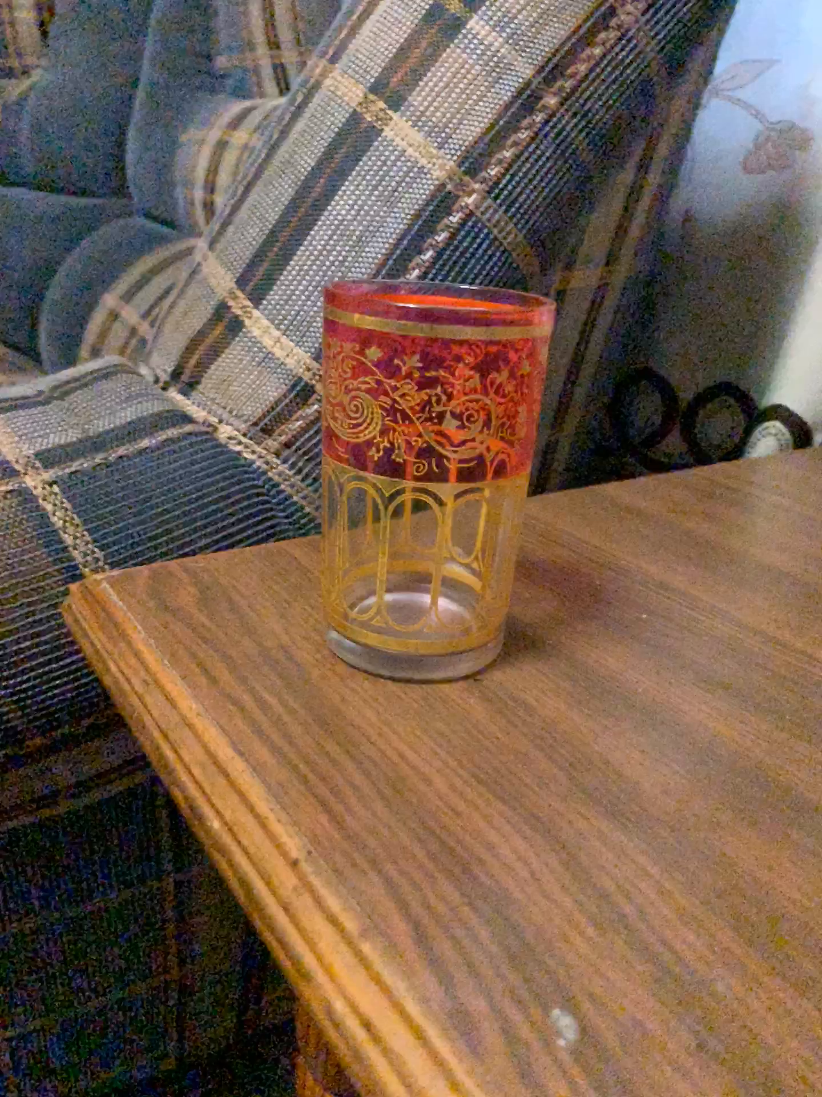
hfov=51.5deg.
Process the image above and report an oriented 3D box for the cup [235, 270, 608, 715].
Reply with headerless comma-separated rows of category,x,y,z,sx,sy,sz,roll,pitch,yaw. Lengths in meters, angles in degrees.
cup,-0.001,-0.022,0.241,0.070,0.099,0.067,5,20,-2
